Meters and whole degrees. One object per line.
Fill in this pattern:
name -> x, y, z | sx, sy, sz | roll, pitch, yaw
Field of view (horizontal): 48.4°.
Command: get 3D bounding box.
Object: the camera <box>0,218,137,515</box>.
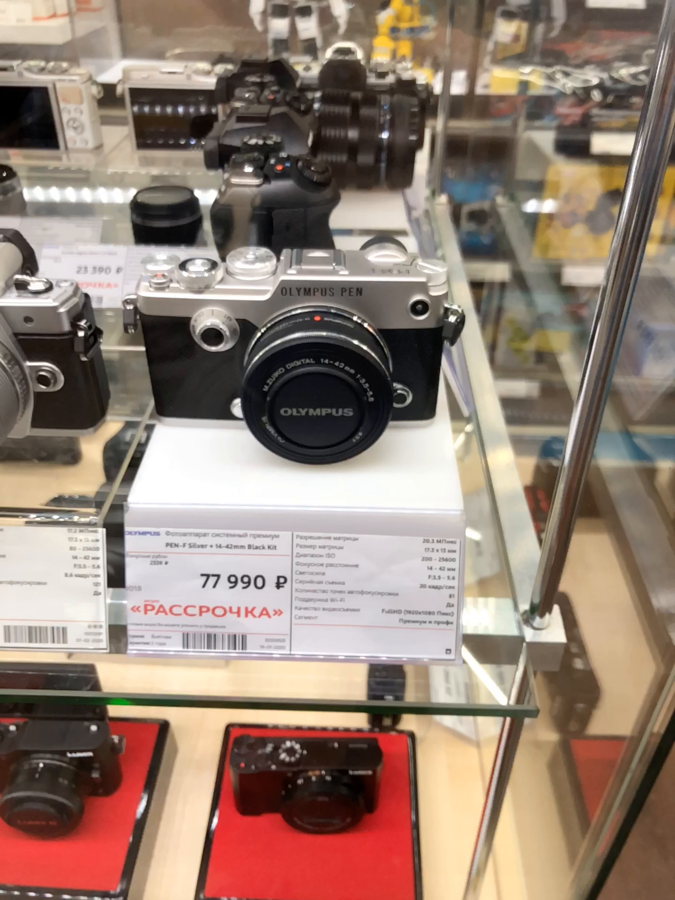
camera -> -0.161, -0.037, 0.301 | 0.127, 0.075, 0.099 | 2, 36, 1

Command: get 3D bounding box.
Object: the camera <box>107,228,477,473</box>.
camera -> -0.016, -0.042, 0.309 | 0.127, 0.070, 0.077 | 1, 36, -1

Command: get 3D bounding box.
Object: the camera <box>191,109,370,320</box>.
camera -> -0.026, -0.137, 0.423 | 0.083, 0.075, 0.128 | 1, 36, 0
